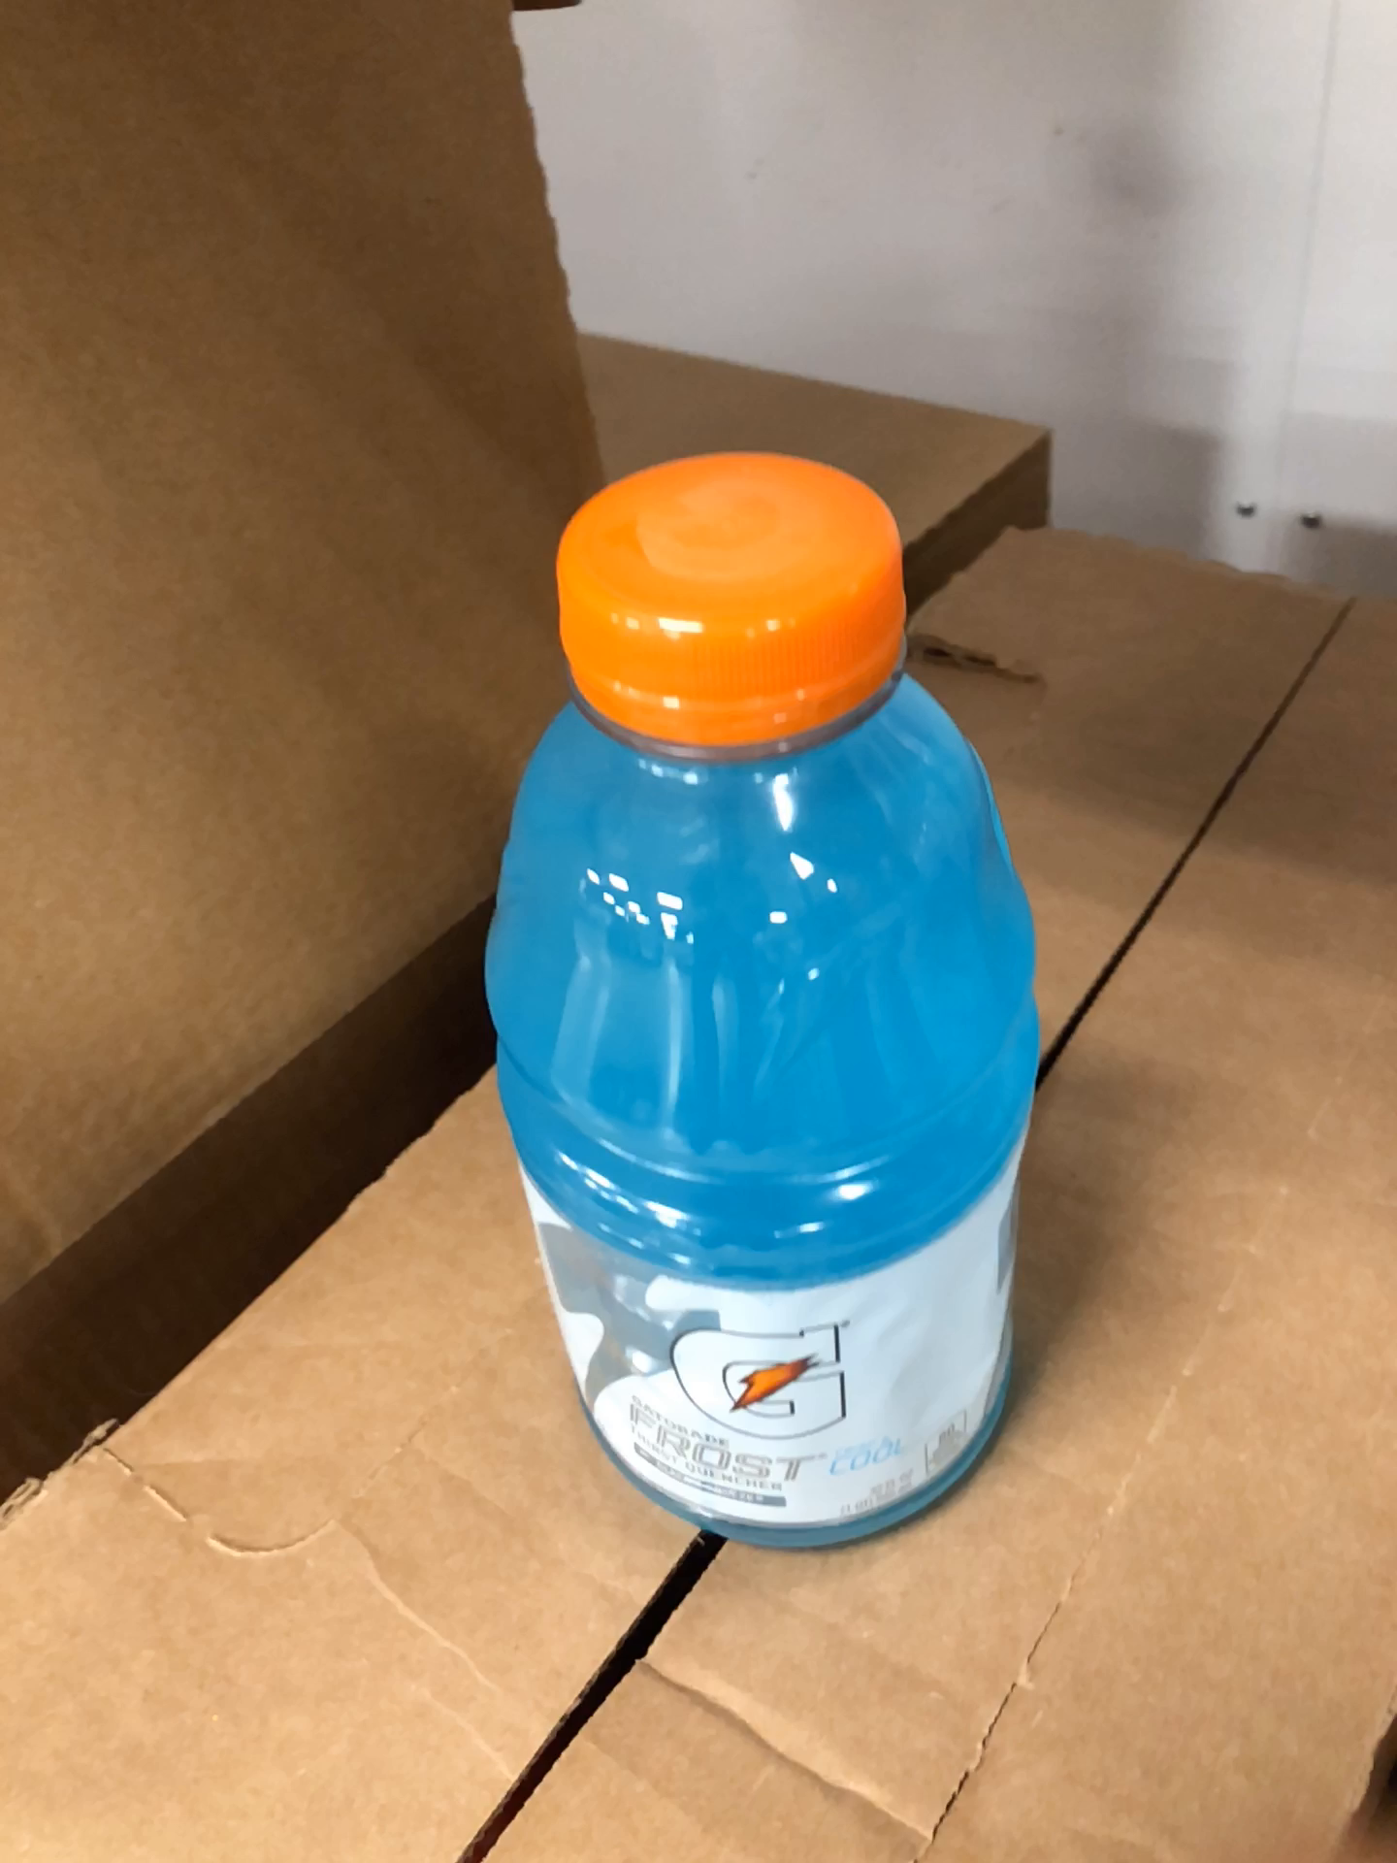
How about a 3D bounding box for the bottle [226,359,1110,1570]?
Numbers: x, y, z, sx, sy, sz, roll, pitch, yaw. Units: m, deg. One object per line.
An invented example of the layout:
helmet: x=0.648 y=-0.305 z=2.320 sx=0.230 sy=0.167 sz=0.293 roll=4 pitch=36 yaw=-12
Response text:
bottle: x=0.010 y=0.020 z=0.273 sx=0.100 sy=0.200 sz=0.090 roll=-2 pitch=42 yaw=8
